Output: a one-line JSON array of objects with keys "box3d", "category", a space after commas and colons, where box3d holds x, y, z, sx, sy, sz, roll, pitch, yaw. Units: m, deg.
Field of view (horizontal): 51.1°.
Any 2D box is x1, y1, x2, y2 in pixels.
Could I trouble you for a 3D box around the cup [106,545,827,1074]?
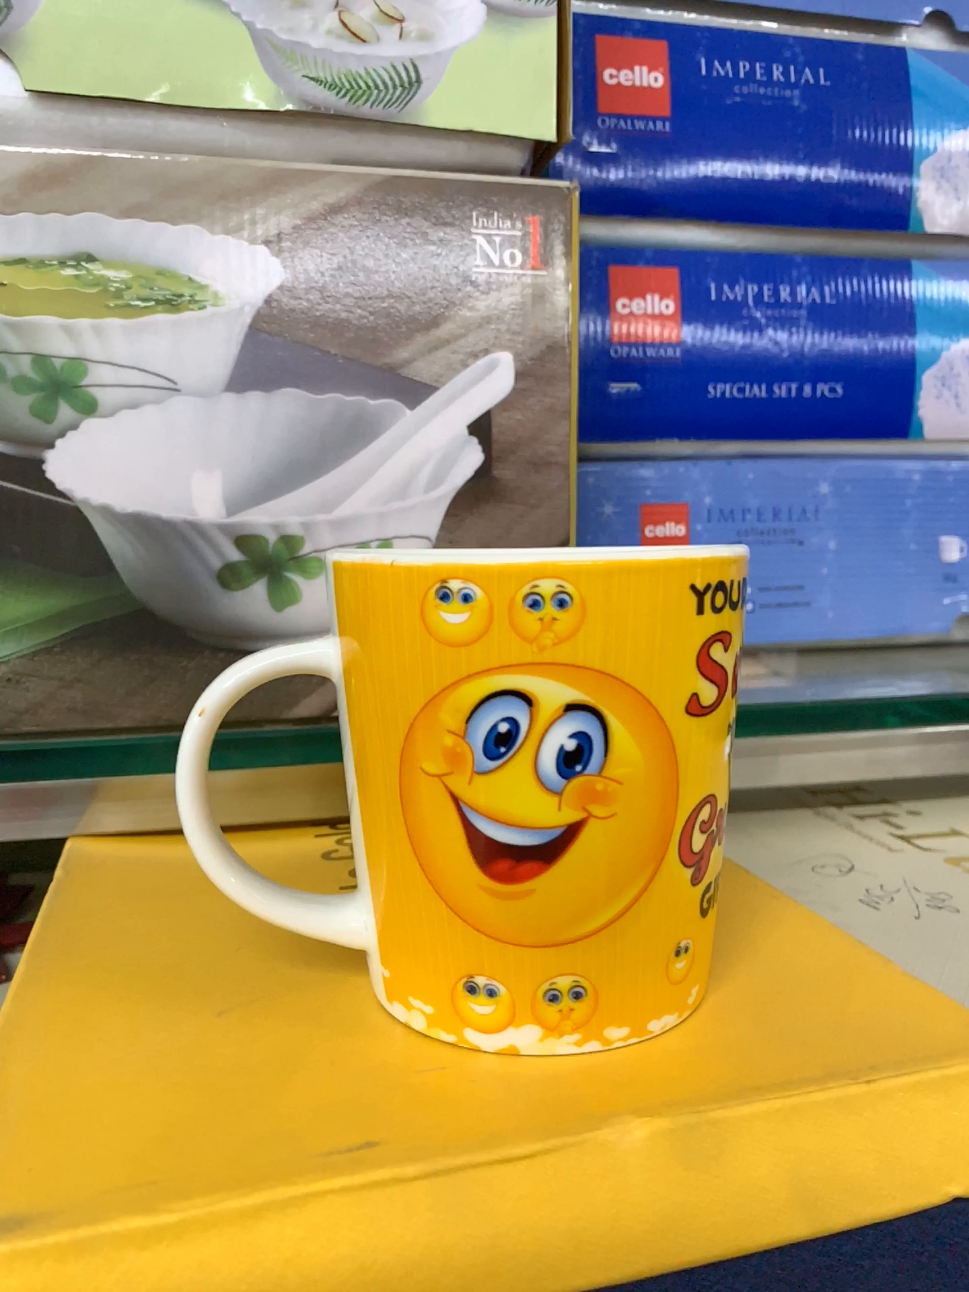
[{"box3d": [-0.003, 0.026, 0.209, 0.120, 0.090, 0.070, 0, 7, -1], "category": "cup"}]
